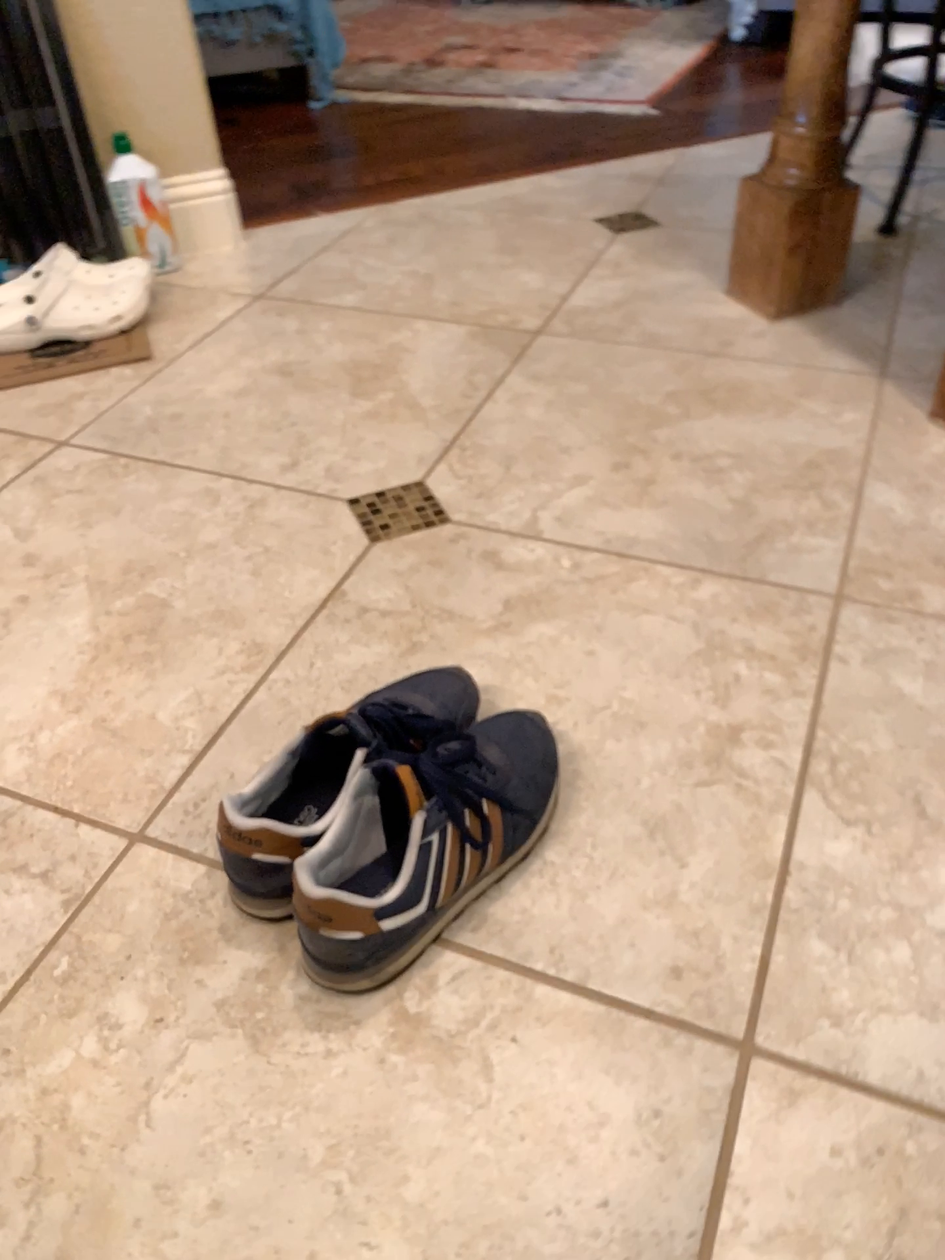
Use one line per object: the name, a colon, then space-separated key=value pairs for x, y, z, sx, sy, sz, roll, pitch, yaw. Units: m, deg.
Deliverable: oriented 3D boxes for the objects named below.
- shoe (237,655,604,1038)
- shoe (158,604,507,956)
shoe: x=-0.027 y=0.154 z=0.758 sx=0.107 sy=0.102 sz=0.283 roll=29 pitch=50 yaw=32
shoe: x=-0.101 y=0.112 z=0.816 sx=0.112 sy=0.102 sz=0.283 roll=26 pitch=49 yaw=30
